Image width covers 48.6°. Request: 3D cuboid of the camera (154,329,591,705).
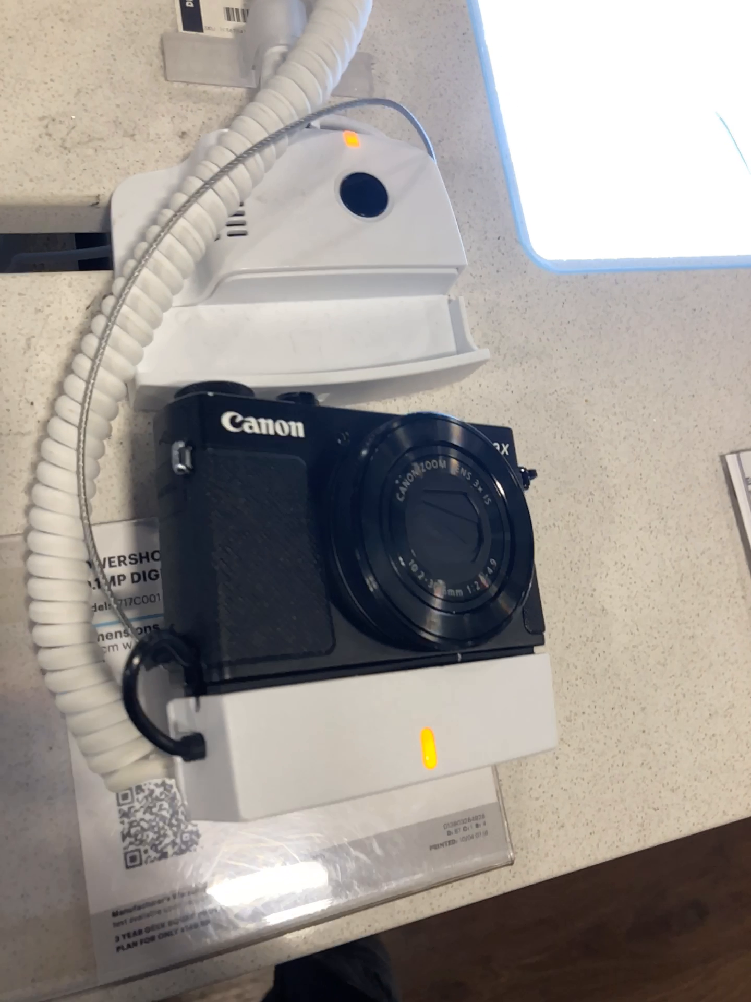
[{"bbox_3d":[0.003,0.004,0.192,0.100,0.020,0.070,1,75,-38],"label":"camera"}]
